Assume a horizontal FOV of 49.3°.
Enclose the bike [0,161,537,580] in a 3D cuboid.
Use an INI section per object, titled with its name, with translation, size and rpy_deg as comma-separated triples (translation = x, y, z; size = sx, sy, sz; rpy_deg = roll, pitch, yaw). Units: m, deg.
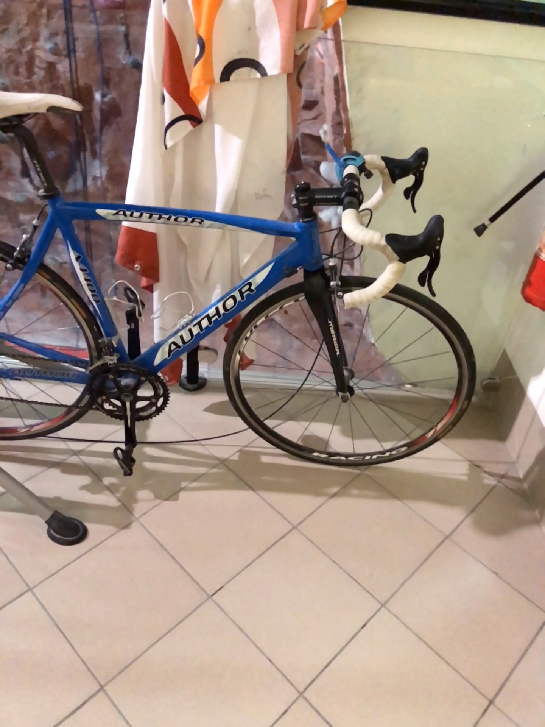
[bike]
translation = -0.273, 0.053, 1.501
size = 1.552, 0.682, 0.468
rpy_deg = 8, 38, -5
